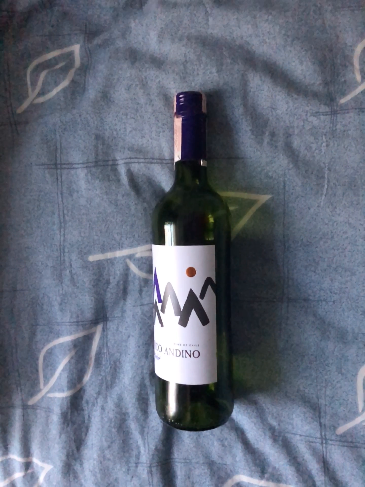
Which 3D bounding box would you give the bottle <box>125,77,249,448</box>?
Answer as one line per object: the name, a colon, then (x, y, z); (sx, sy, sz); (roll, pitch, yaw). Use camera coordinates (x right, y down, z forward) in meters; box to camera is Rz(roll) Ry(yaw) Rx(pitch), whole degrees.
bottle: (0.007, 0.016, 0.370); (0.080, 0.080, 0.290); (1, 93, 31)
